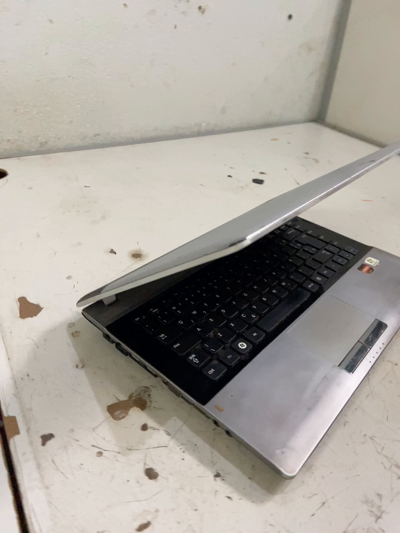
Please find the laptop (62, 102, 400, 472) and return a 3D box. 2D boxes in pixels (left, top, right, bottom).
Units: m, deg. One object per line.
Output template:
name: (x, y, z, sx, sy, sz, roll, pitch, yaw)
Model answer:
laptop: (0.090, -0.040, 0.410, 0.233, 0.150, 0.346, 28, 40, 31)
